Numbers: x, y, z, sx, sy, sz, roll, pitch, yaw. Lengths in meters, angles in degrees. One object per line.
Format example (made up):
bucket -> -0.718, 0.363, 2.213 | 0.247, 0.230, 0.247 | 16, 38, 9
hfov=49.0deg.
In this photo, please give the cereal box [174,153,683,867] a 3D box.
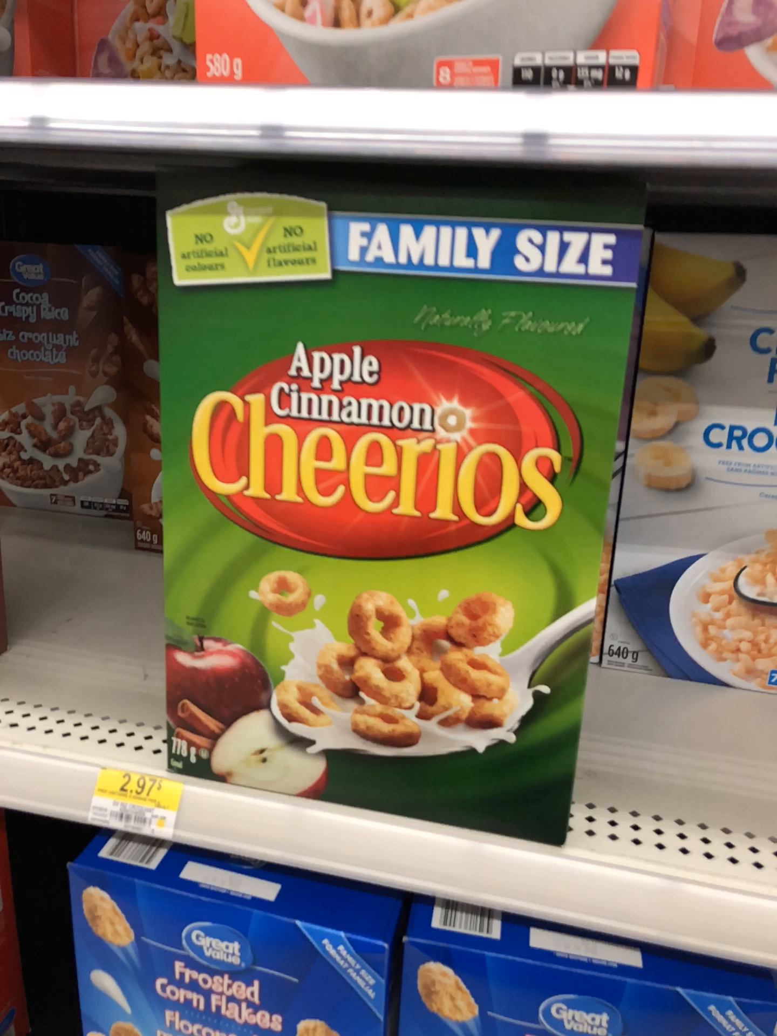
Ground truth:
cereal box -> 0.013, -0.007, 0.485 | 0.240, 0.358, 0.090 | 7, 17, 13
